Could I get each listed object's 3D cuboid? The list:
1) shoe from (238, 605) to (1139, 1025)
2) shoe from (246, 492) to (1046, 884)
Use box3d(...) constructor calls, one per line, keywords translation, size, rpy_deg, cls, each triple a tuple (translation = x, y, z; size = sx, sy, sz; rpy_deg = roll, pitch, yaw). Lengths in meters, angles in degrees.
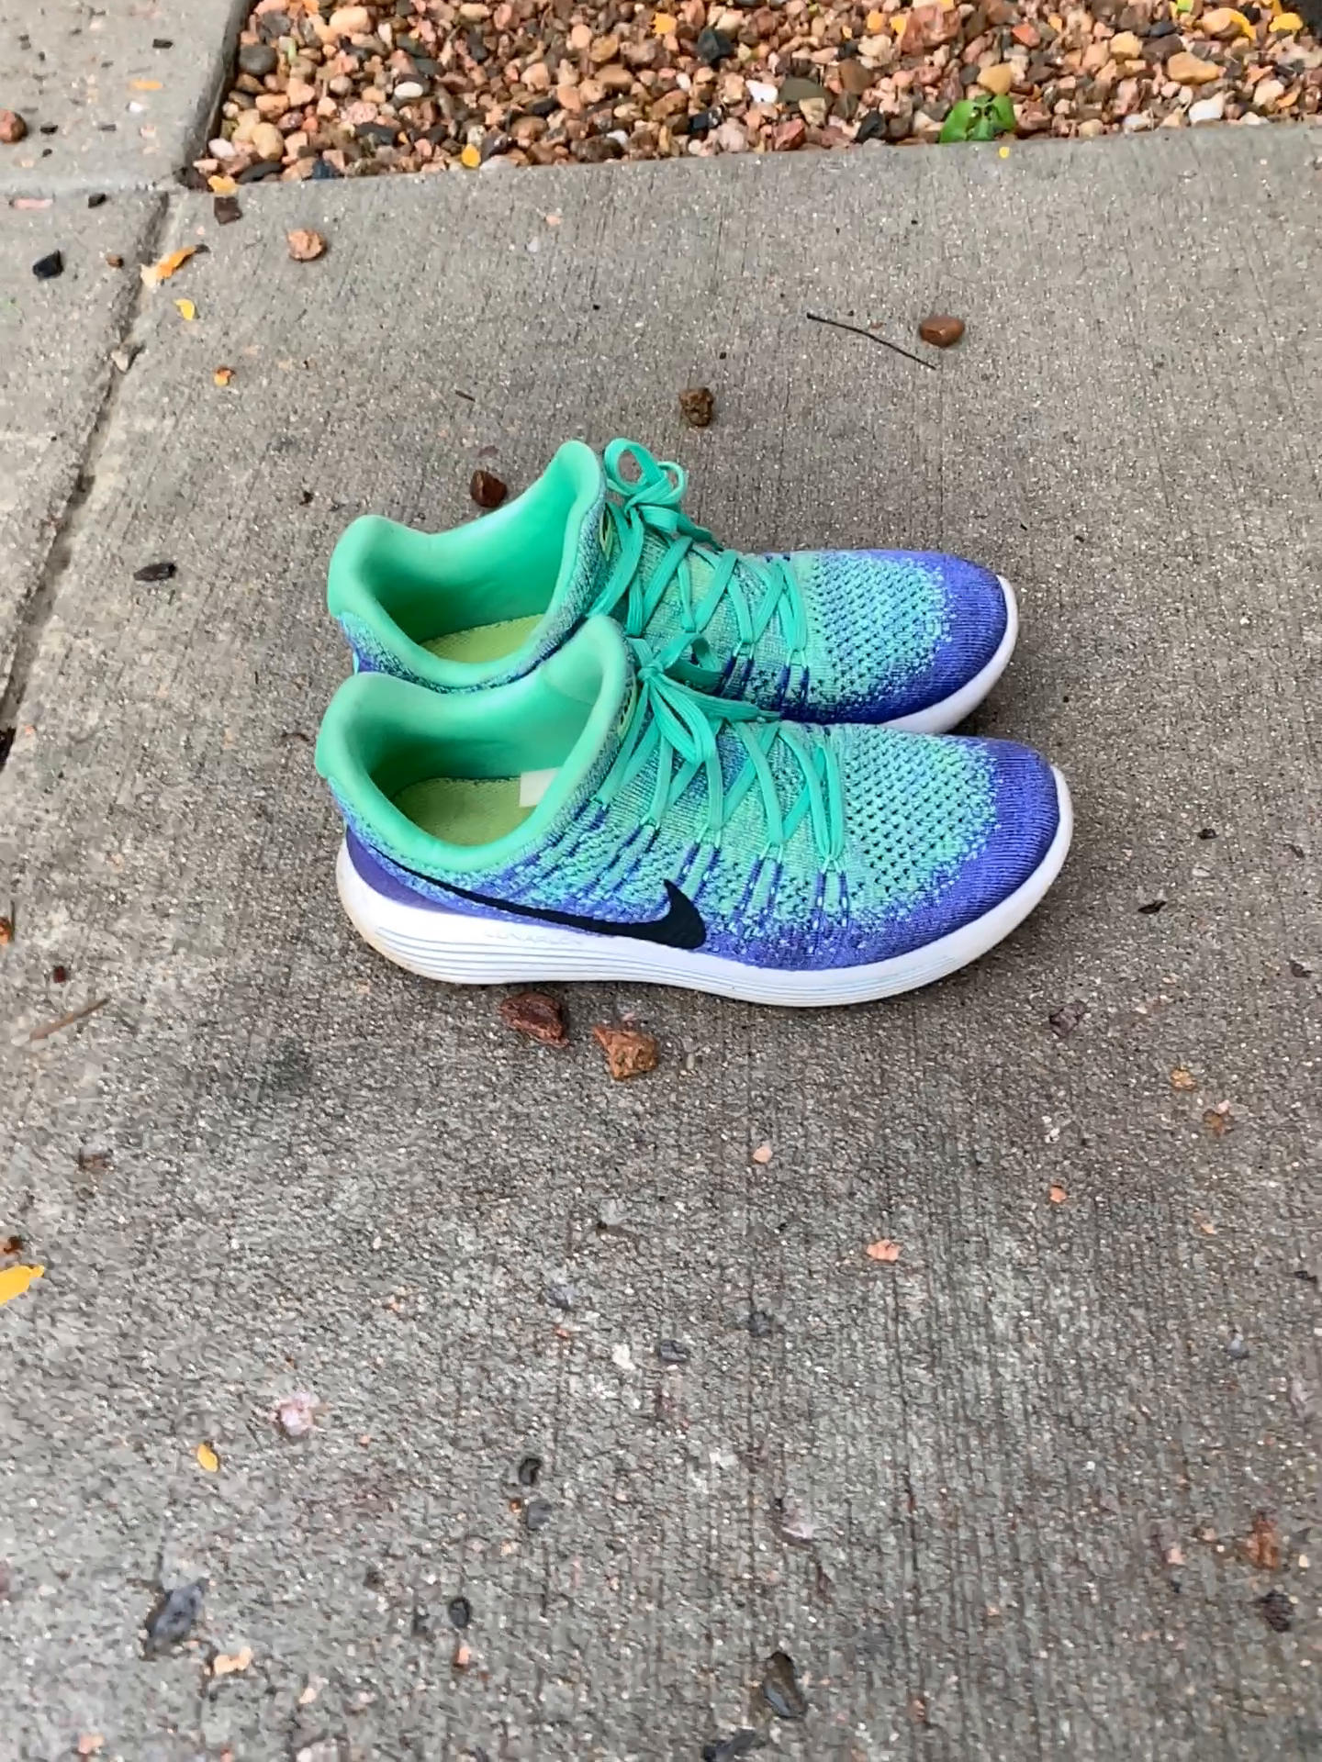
box3d(translation=(0.008, -0.022, 0.479), size=(0.270, 0.110, 0.100), rpy_deg=(0, 52, -1), cls="shoe")
box3d(translation=(-0.006, -0.079, 0.569), size=(0.290, 0.110, 0.120), rpy_deg=(0, 57, -1), cls="shoe")
